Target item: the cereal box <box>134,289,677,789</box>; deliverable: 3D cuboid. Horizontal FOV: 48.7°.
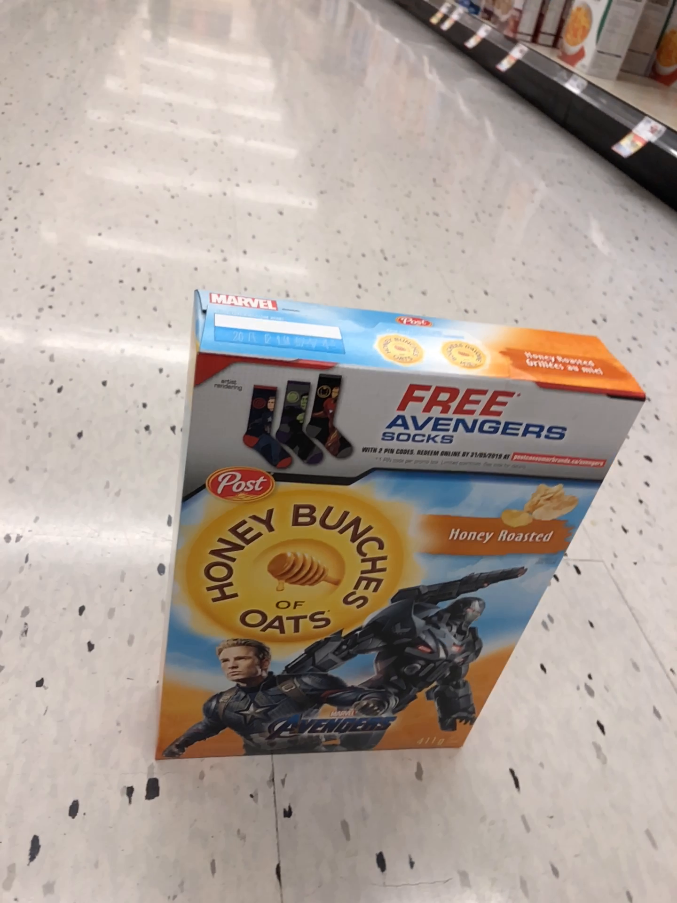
[{"bbox_3d":[0.014,0.063,0.372,0.210,0.258,0.060,3,36,-15],"label":"cereal box"}]
